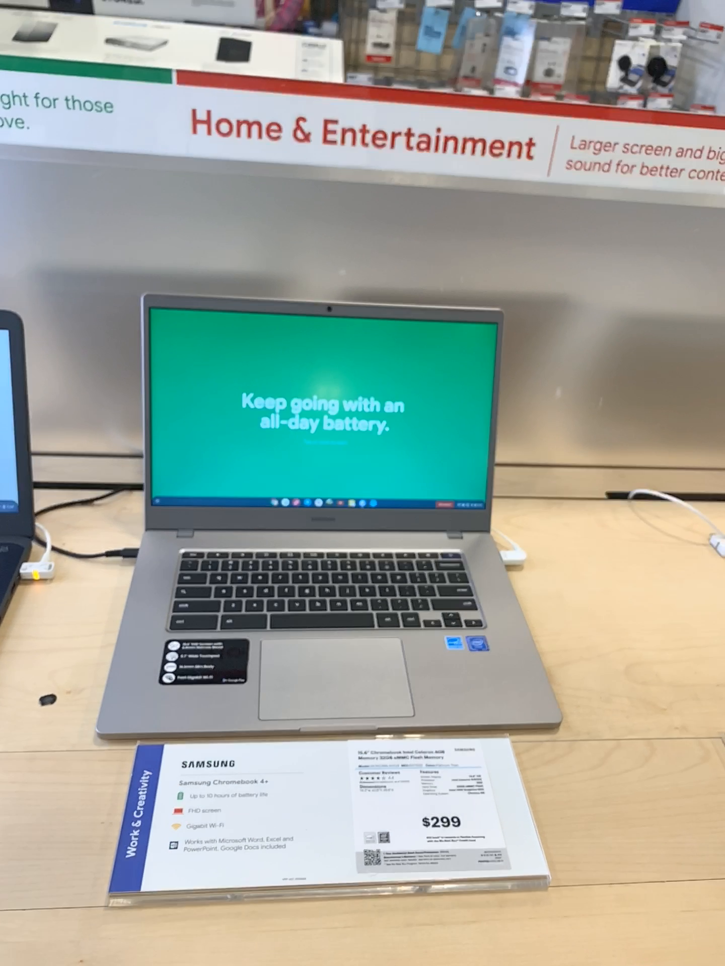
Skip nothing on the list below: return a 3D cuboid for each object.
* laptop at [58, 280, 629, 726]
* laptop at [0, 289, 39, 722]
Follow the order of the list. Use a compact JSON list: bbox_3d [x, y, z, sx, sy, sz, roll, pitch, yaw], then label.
[{"bbox_3d":[-0.028,-0.004,0.650,0.351,0.205,0.339,1,34,-7],"label":"laptop"},{"bbox_3d":[-0.468,0.001,0.590,0.320,0.193,0.295,1,33,-8],"label":"laptop"}]
